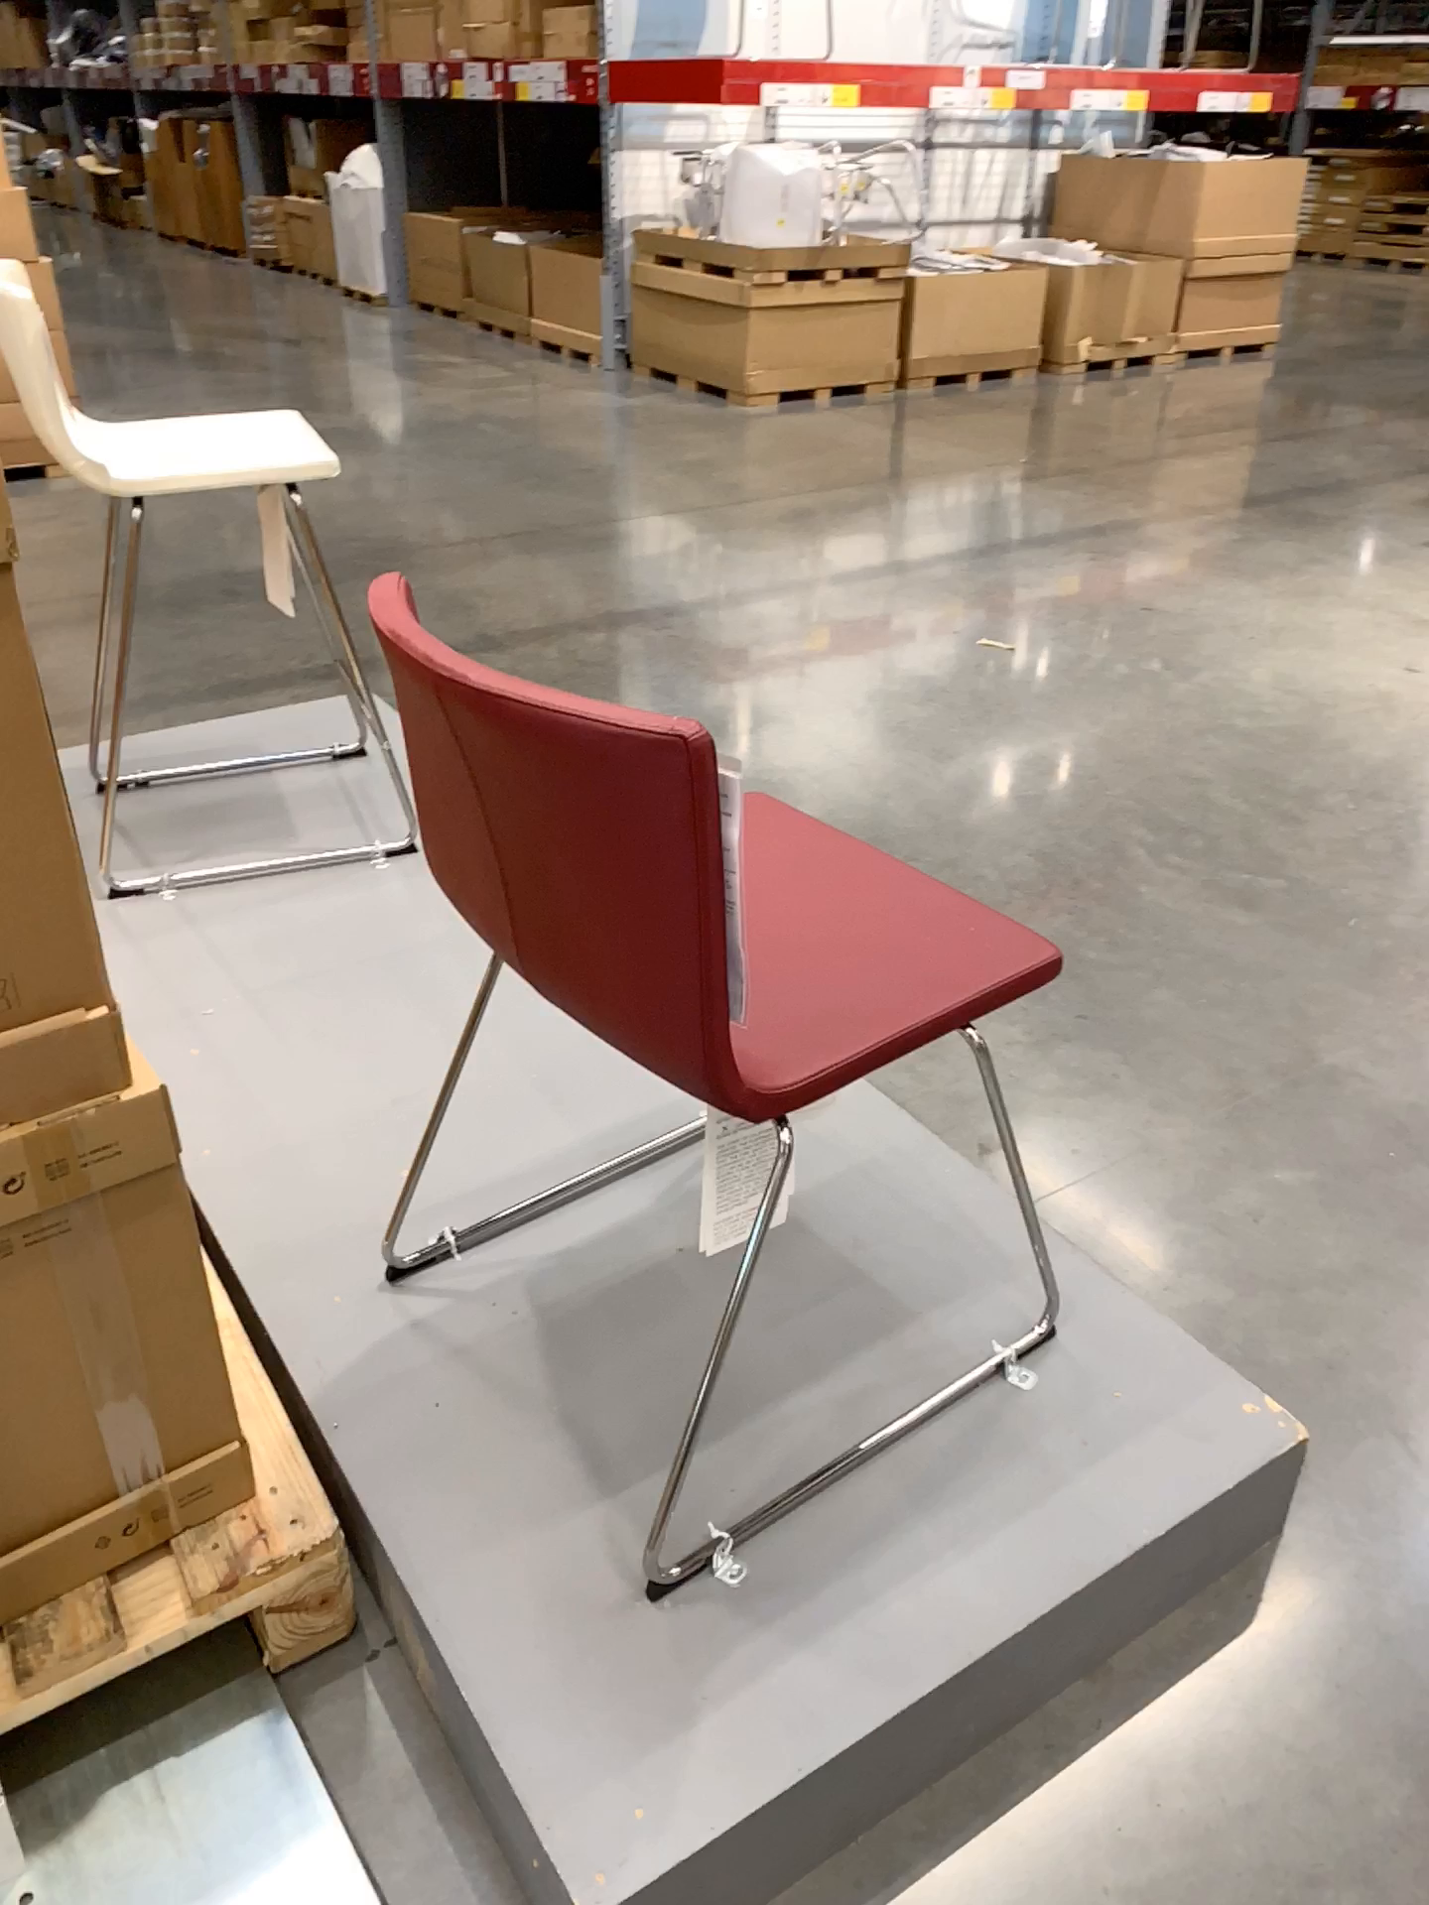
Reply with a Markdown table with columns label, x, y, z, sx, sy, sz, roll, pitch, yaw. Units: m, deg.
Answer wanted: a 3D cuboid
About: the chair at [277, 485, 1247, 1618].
| label | x | y | z | sx | sy | sz | roll | pitch | yaw |
| --- | --- | --- | --- | --- | --- | --- | --- | --- | --- |
| chair | 0.023 | 0.033 | 1.323 | 0.551 | 0.726 | 0.532 | -21 | 37 | -33 |
